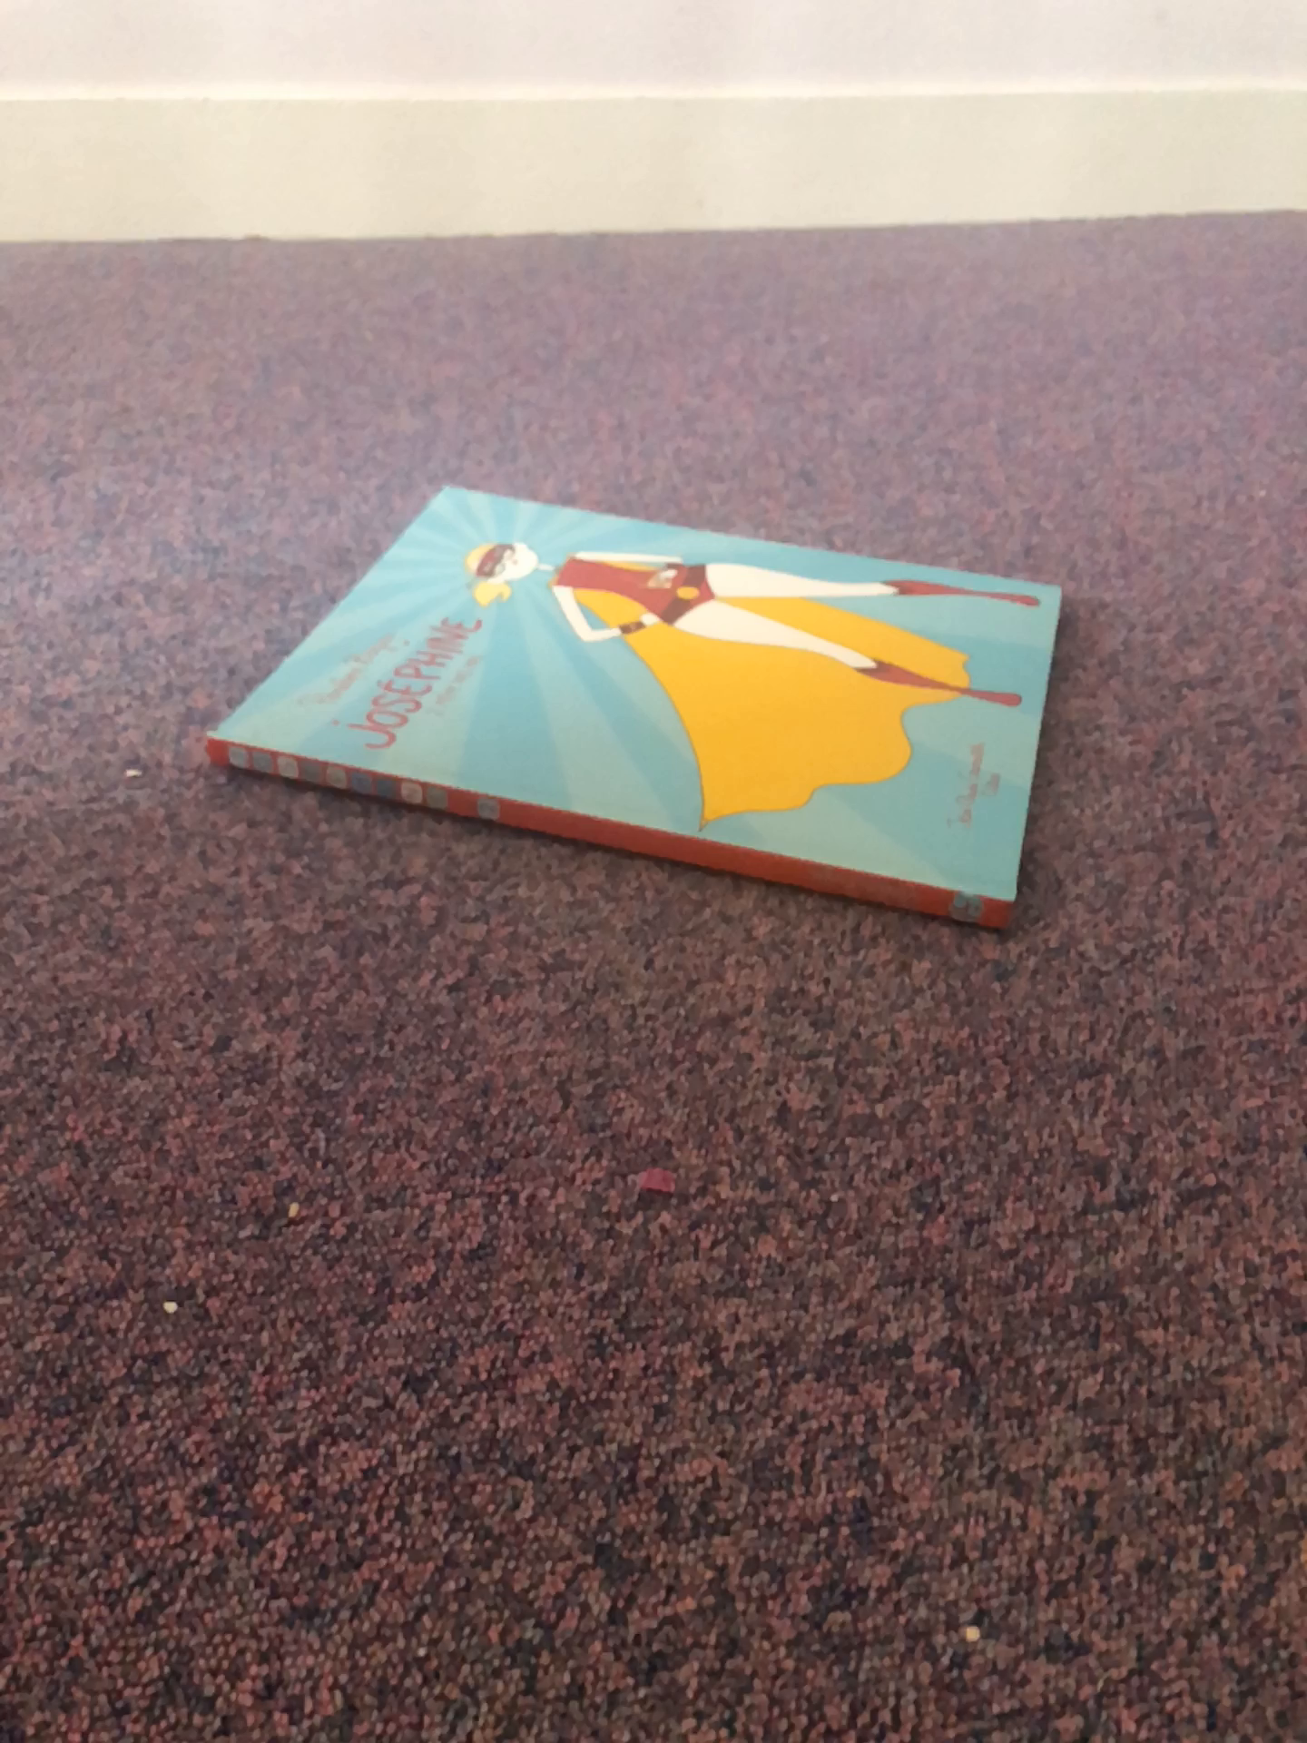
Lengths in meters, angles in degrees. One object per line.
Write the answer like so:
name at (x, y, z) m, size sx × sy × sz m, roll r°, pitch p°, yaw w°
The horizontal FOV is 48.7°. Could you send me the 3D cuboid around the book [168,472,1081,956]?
book at (0.006, -0.082, 0.580) m, size 0.306 × 0.020 × 0.235 m, roll 12°, pitch 40°, yaw 11°
